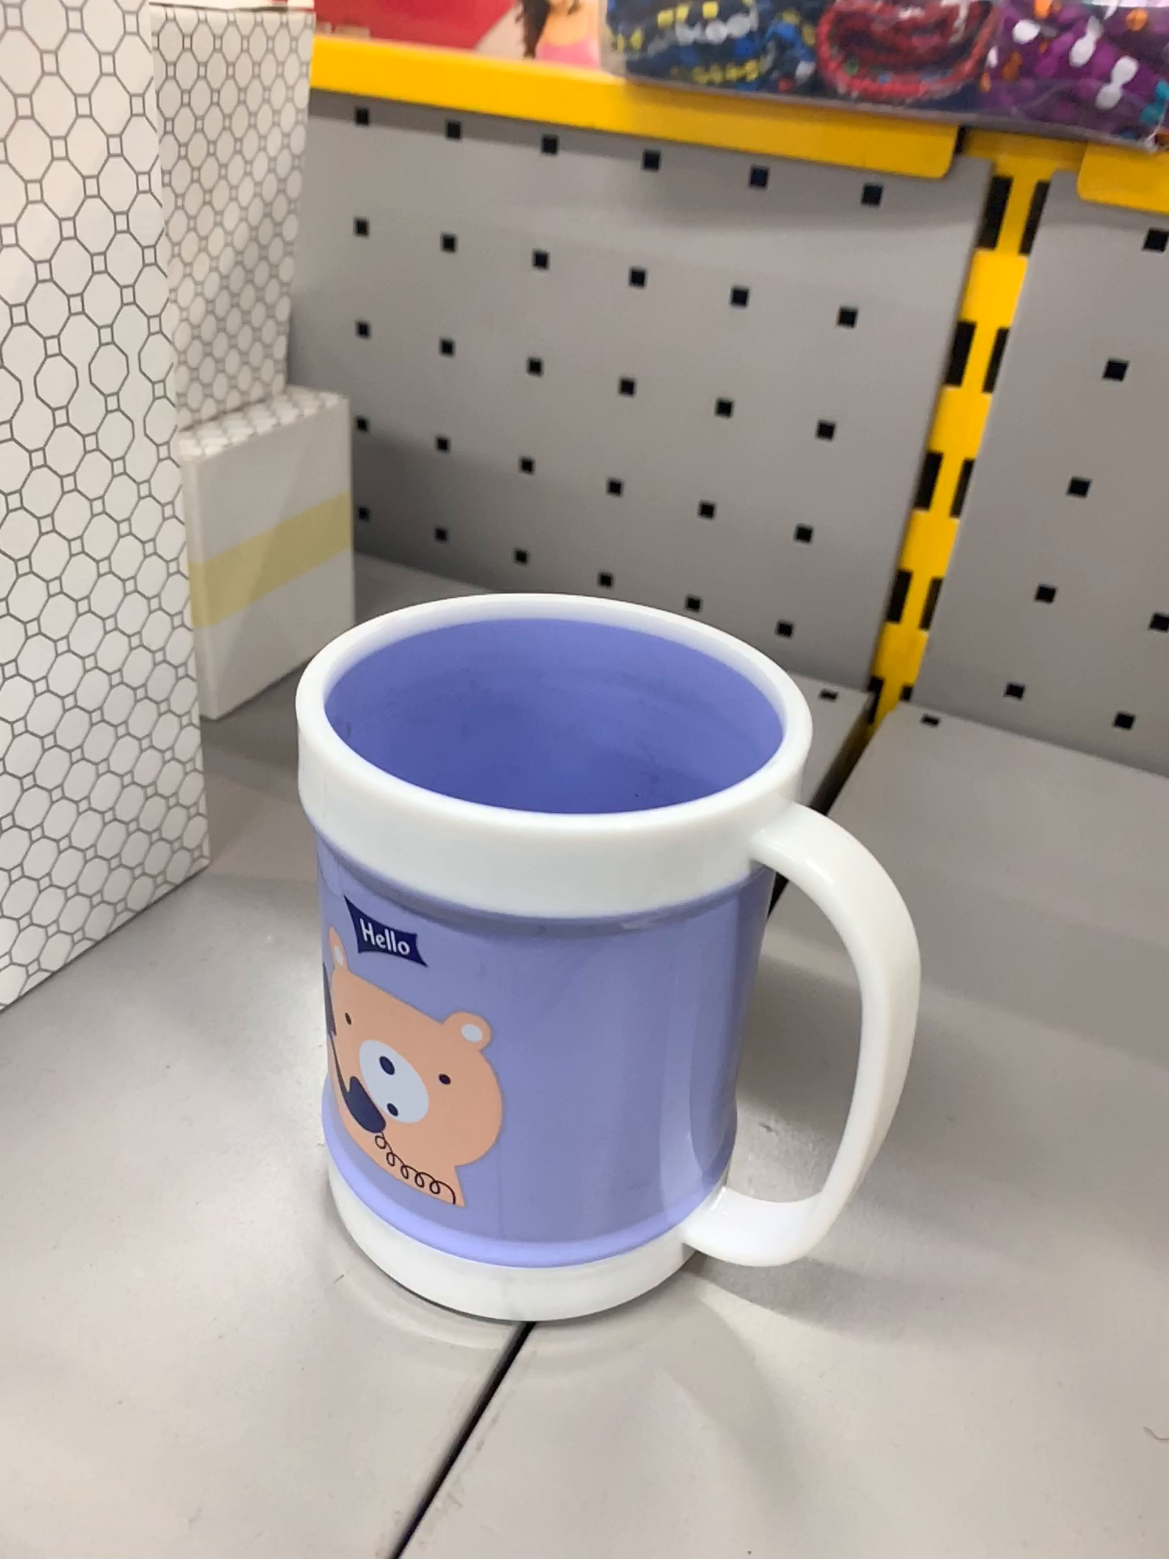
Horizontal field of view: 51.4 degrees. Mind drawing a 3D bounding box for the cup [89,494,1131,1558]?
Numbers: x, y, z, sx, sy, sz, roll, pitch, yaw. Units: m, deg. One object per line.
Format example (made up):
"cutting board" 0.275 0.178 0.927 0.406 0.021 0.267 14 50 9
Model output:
"cup" 0.002 0.027 0.199 0.120 0.100 0.090 23 35 25
